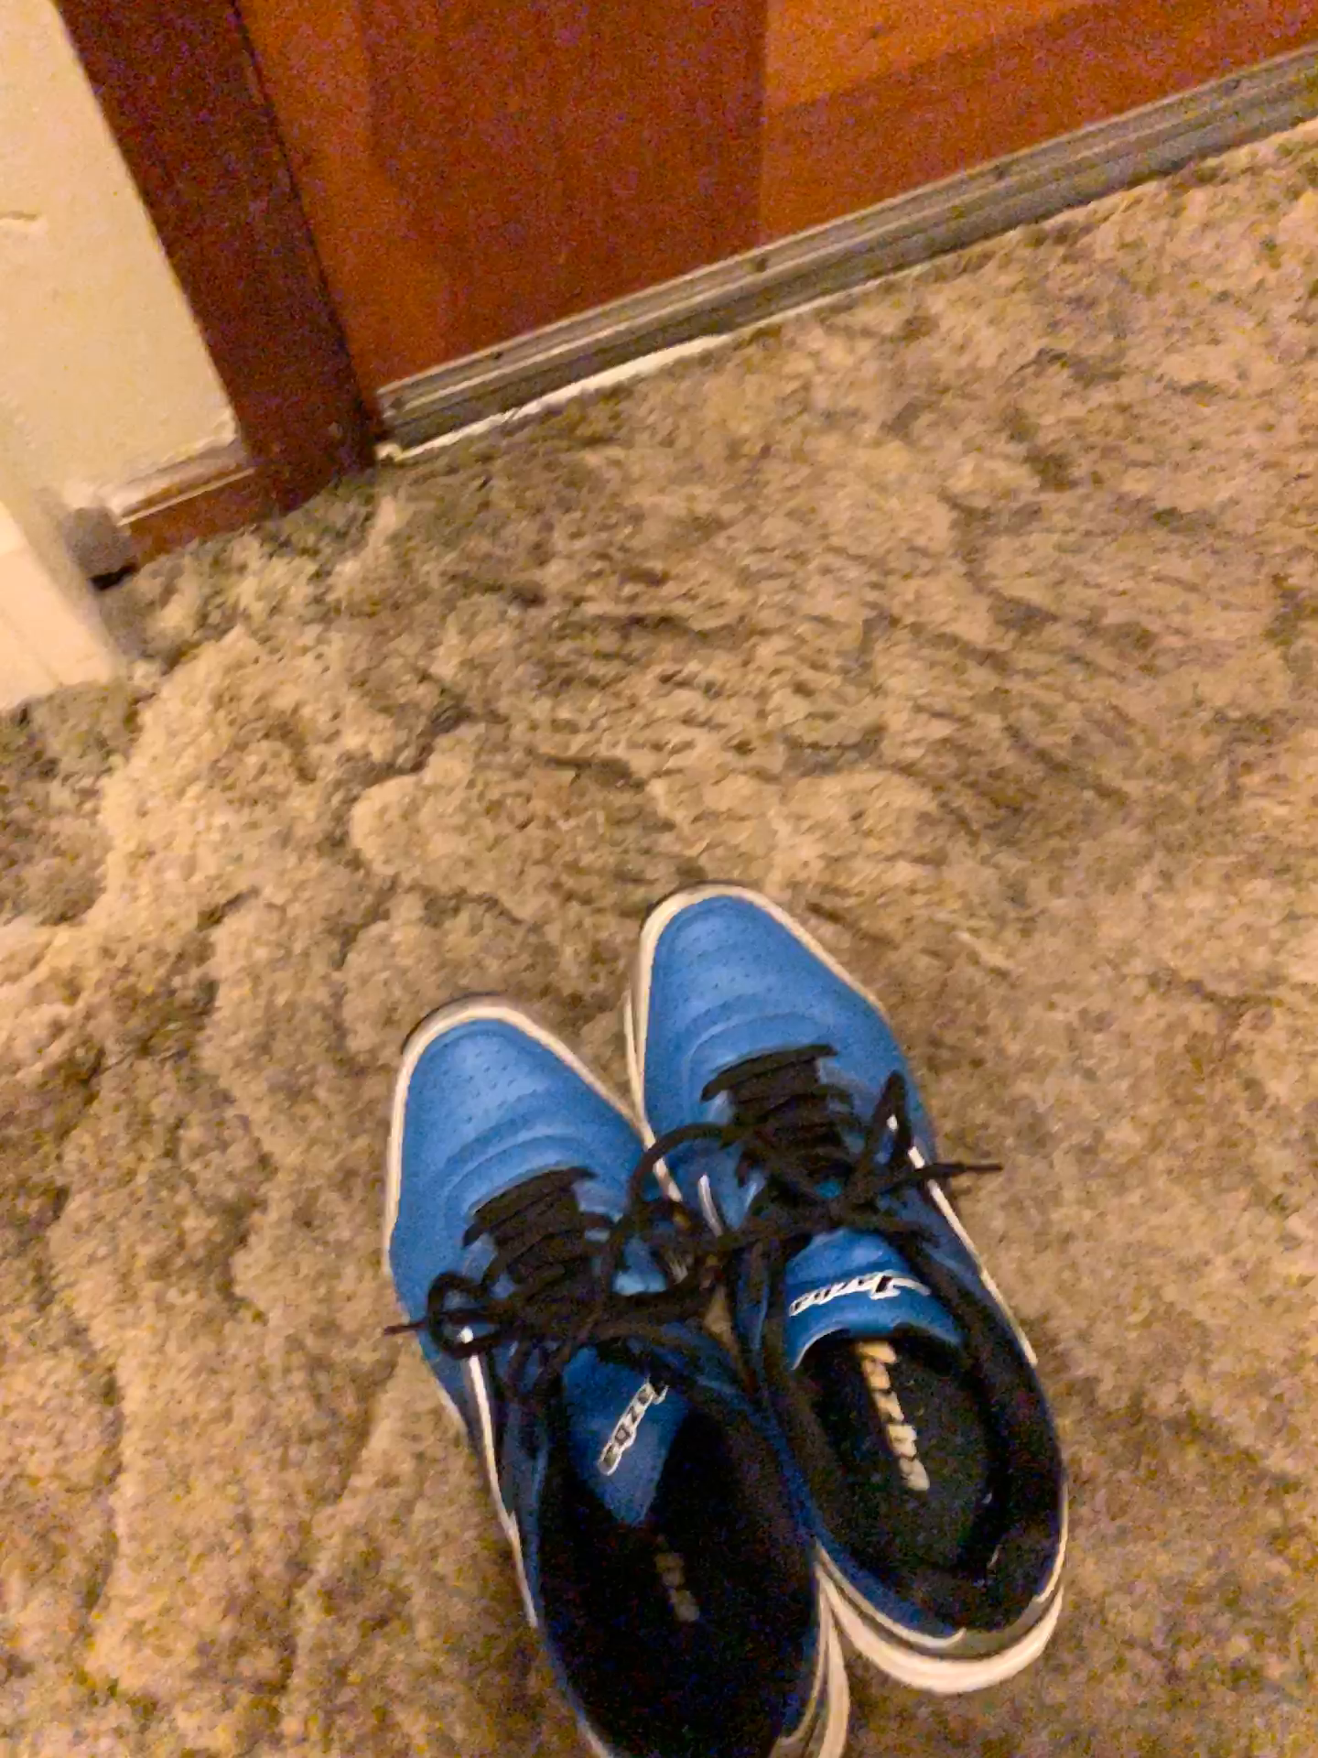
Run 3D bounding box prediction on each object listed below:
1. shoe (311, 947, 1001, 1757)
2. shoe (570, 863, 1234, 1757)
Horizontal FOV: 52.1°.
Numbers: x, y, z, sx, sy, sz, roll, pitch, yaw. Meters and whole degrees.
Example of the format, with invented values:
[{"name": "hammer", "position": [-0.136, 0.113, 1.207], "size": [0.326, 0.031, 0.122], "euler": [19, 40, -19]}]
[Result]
[{"name": "shoe", "position": [-0.011, 0.178, 0.441], "size": [0.100, 0.119, 0.271], "euler": [-22, 66, -8]}, {"name": "shoe", "position": [0.064, 0.154, 0.467], "size": [0.100, 0.119, 0.281], "euler": [-18, 65, -6]}]
